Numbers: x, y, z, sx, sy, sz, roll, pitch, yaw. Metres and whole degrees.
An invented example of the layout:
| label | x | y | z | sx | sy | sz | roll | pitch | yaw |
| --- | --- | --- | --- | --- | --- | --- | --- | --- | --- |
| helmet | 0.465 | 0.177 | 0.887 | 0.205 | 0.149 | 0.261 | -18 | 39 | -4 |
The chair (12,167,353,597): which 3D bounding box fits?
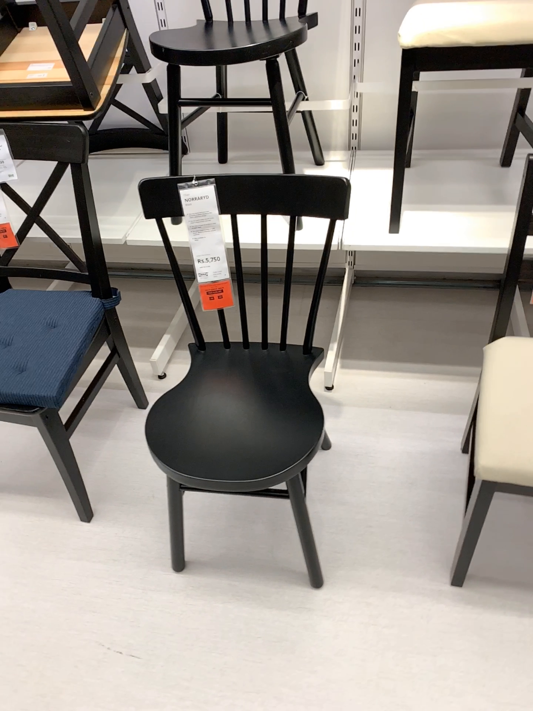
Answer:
| label | x | y | z | sx | sy | sz | roll | pitch | yaw |
| --- | --- | --- | --- | --- | --- | --- | --- | --- | --- |
| chair | -0.071 | 0.070 | 1.211 | 0.470 | 0.787 | 0.522 | 4 | 42 | 11 |
